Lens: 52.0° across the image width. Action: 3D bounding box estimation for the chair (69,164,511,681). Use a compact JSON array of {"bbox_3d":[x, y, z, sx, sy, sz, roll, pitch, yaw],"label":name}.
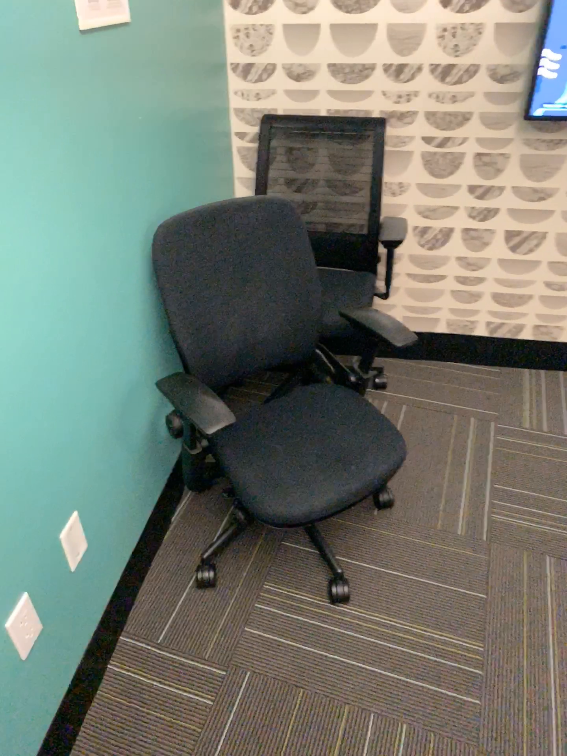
[{"bbox_3d":[-0.023,0.052,1.550,0.661,0.944,0.774,-21,39,-26],"label":"chair"}]
